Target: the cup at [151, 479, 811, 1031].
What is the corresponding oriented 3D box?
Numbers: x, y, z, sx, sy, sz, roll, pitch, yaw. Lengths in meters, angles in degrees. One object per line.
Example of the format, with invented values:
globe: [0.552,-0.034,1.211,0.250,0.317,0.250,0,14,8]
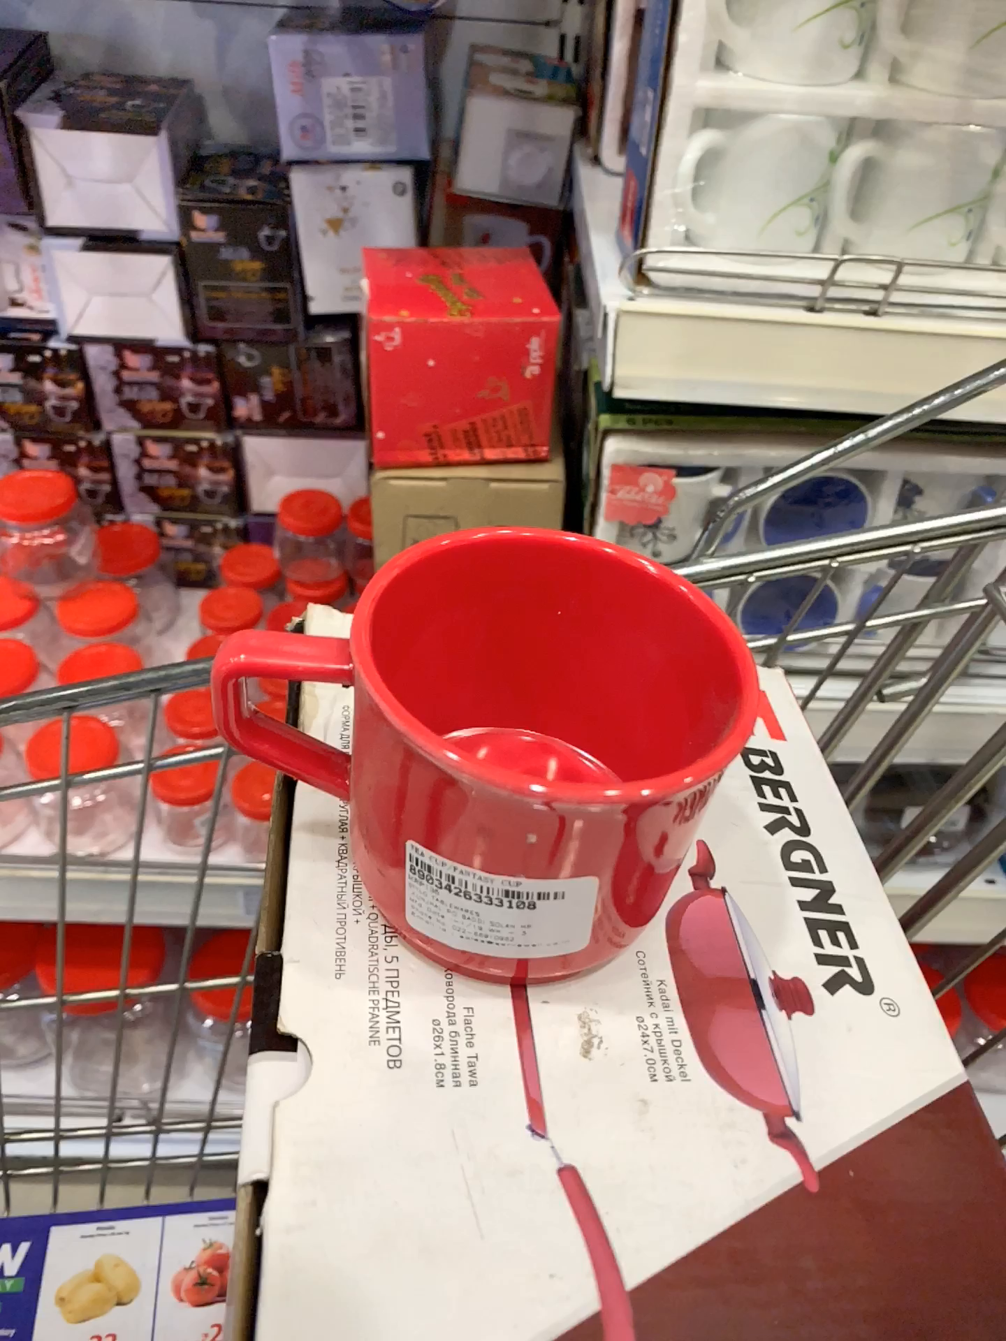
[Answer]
cup: [-0.005,0.014,0.188,0.090,0.060,0.070,5,41,-3]
